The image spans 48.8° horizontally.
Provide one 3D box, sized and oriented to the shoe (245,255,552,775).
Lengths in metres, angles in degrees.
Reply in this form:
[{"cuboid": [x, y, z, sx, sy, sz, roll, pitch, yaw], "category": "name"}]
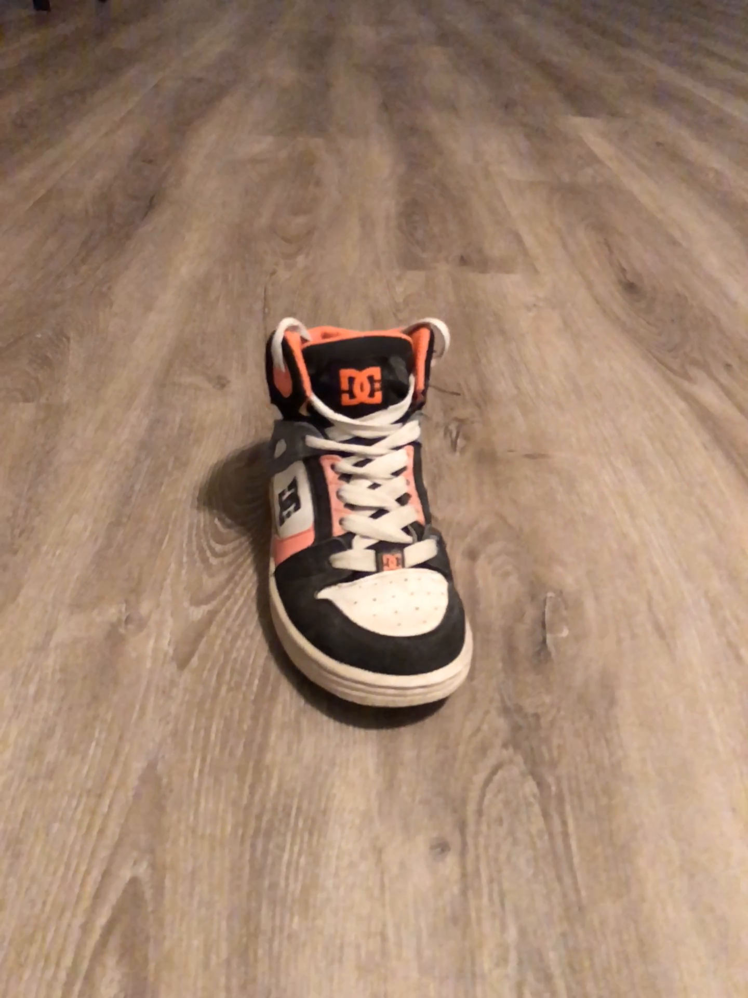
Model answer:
[{"cuboid": [-0.009, -0.012, 0.414, 0.090, 0.139, 0.241, -4, 36, -11], "category": "shoe"}]
